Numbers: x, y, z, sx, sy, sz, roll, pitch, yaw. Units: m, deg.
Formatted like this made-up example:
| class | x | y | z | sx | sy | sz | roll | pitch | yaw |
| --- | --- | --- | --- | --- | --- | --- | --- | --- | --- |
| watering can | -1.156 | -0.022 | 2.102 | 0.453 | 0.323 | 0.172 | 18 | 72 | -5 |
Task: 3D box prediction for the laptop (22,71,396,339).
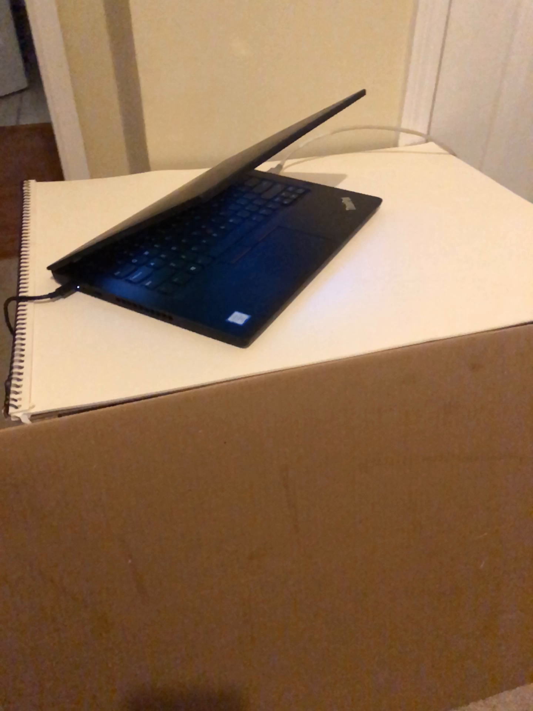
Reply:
| class | x | y | z | sx | sy | sz | roll | pitch | yaw |
| --- | --- | --- | --- | --- | --- | --- | --- | --- | --- |
| laptop | -0.035 | -0.183 | 0.605 | 0.227 | 0.115 | 0.318 | 19 | 43 | 23 |
